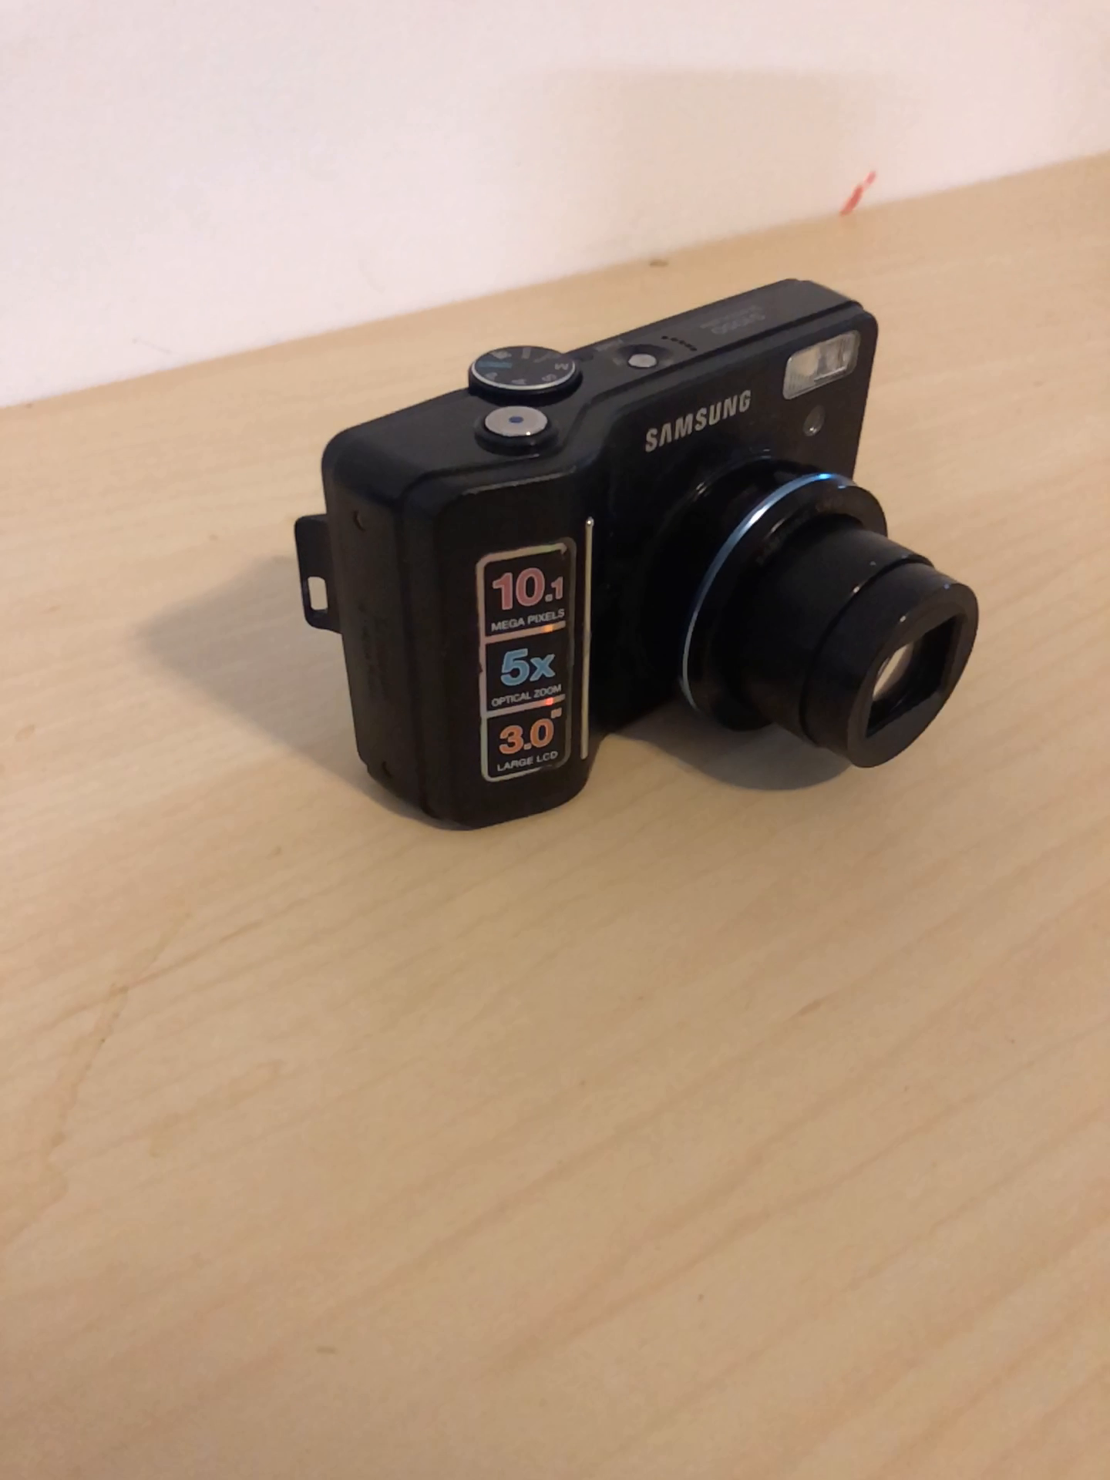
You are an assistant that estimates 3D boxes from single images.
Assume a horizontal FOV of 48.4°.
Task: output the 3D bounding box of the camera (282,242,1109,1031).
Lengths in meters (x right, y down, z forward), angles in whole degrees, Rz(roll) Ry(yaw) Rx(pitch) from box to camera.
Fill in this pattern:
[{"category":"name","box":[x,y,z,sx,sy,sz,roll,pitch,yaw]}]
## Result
[{"category":"camera","box":[0.026,-0.025,0.204,0.110,0.070,0.070,-28,49,-29]}]
